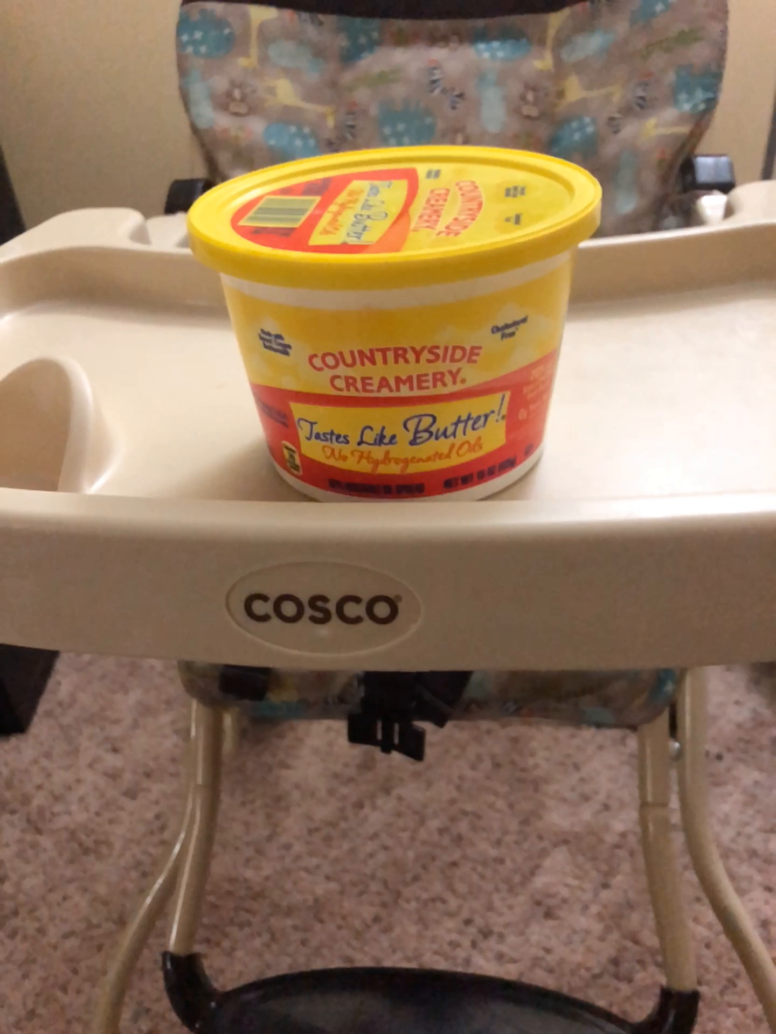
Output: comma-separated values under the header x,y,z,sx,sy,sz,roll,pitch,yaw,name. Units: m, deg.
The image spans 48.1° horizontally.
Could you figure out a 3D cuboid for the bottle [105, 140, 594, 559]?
x,y,z,sx,sy,sz,roll,pitch,yaw,name
0.000,-0.059,0.279,0.120,0.090,0.110,-3,35,2,bottle
